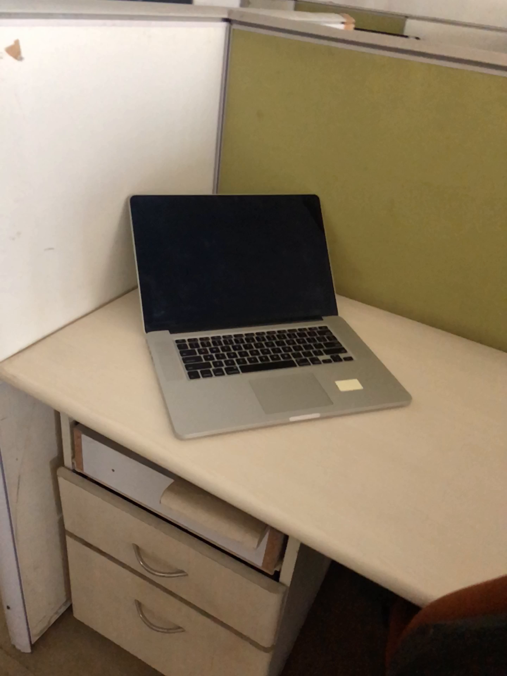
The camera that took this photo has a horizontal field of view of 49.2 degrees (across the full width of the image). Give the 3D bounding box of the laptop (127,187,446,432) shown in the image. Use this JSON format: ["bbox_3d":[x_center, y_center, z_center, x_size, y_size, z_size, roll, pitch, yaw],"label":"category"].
[{"bbox_3d":[0.013,-0.080,0.859,0.345,0.163,0.405,-5,36,-20],"label":"laptop"}]
